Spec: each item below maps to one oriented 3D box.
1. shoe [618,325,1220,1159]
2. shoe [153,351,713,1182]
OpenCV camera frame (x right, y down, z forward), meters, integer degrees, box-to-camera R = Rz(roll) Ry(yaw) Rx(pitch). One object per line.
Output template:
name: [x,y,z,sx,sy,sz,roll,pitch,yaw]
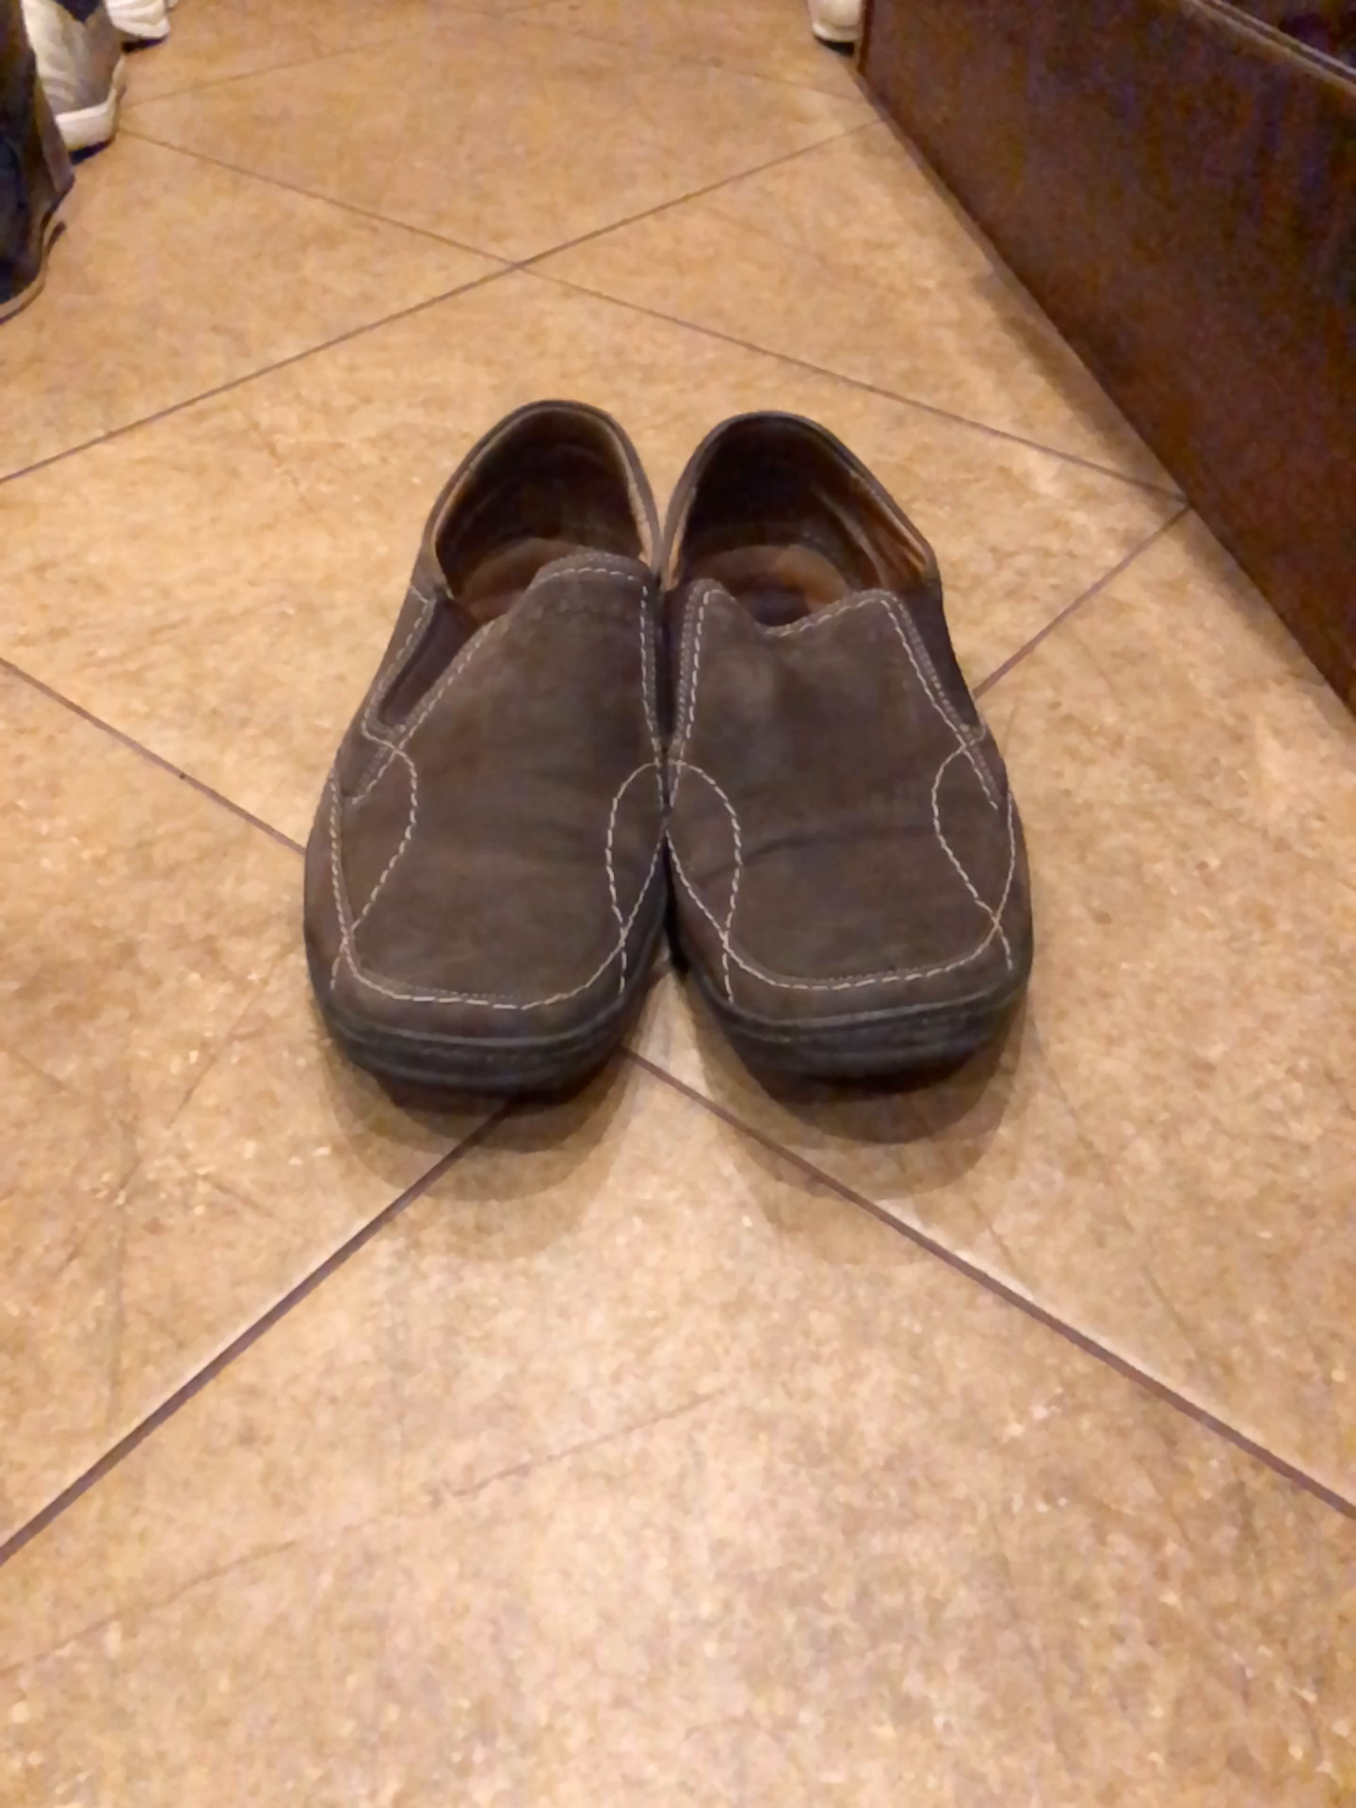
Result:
shoe: [0.047,-0.073,0.459,0.120,0.089,0.302,-2,43,-3]
shoe: [-0.057,-0.065,0.463,0.120,0.089,0.302,0,43,-2]
